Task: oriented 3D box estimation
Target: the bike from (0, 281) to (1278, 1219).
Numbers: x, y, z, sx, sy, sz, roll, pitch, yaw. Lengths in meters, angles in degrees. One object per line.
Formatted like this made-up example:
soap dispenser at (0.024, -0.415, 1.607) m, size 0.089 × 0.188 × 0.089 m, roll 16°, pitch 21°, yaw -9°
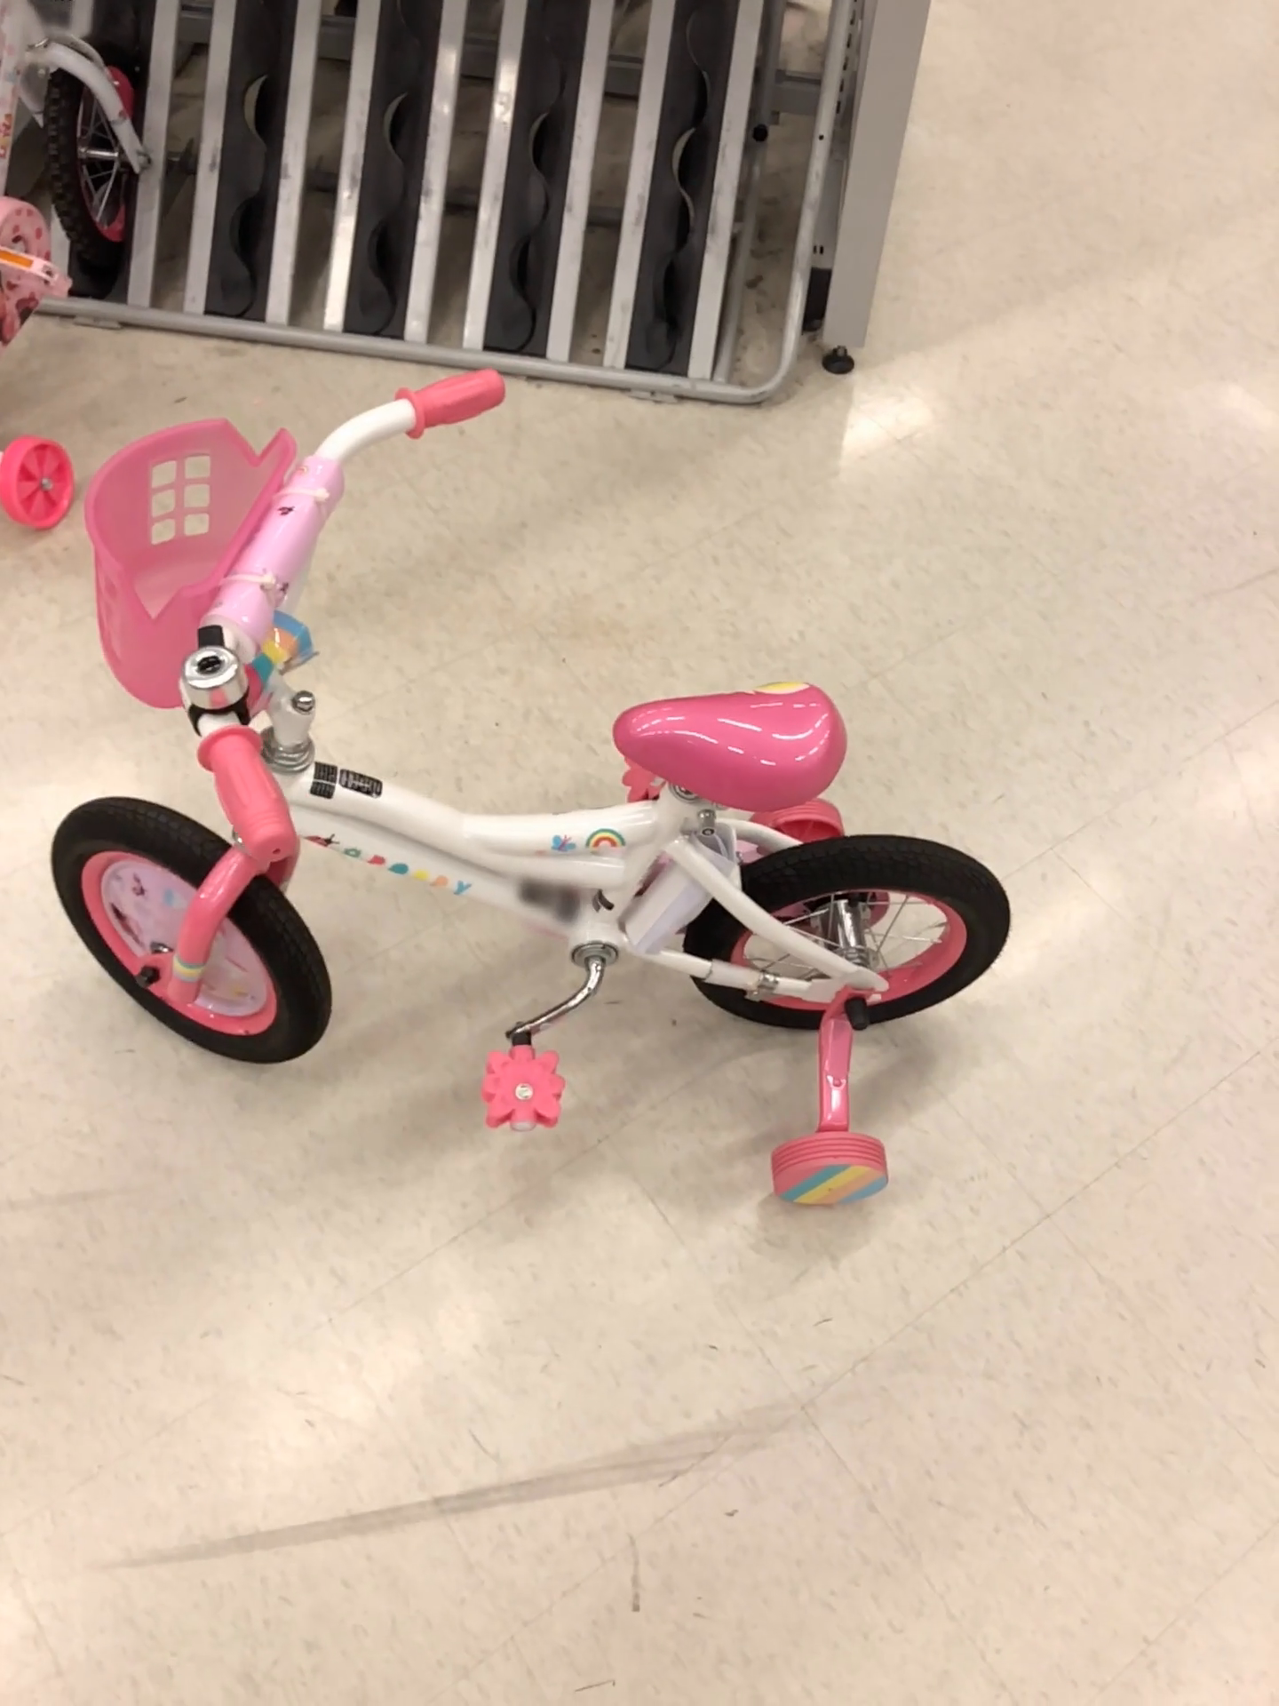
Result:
bike at (-0.091, -0.051, 1.199) m, size 0.878 × 0.632 × 0.458 m, roll 3°, pitch 57°, yaw 2°
